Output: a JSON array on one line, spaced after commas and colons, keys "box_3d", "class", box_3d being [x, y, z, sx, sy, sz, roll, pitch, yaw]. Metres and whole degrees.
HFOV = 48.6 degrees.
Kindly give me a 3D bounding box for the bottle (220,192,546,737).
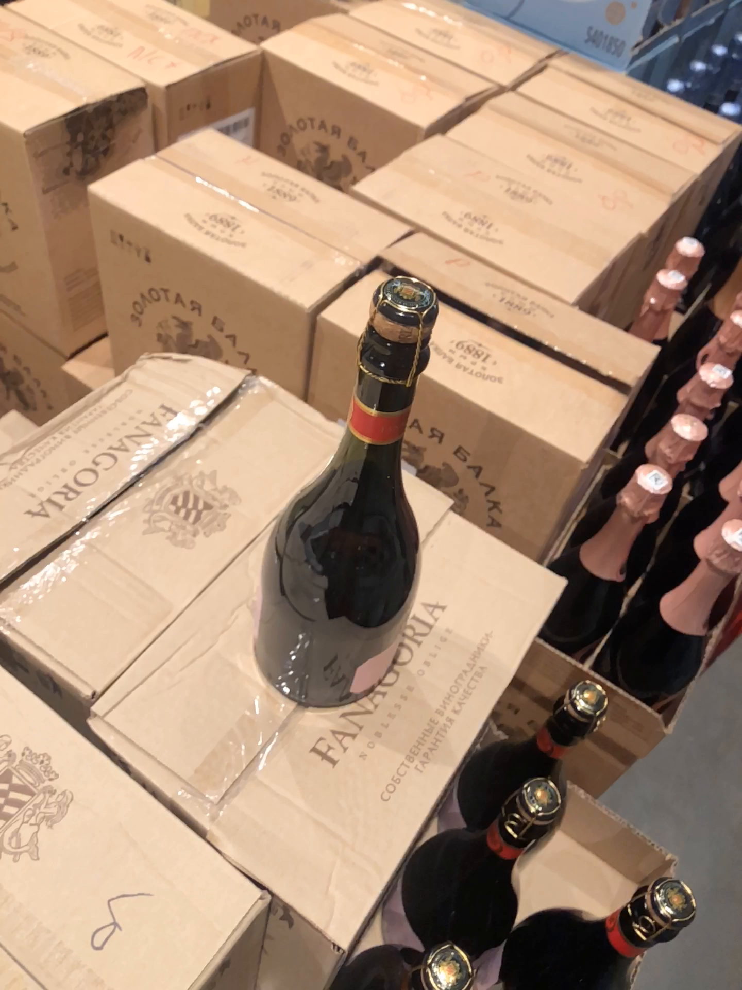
[{"box_3d": [-0.011, 0.006, 0.463, 0.100, 0.298, 0.111, 27, 52, 12], "class": "bottle"}]
